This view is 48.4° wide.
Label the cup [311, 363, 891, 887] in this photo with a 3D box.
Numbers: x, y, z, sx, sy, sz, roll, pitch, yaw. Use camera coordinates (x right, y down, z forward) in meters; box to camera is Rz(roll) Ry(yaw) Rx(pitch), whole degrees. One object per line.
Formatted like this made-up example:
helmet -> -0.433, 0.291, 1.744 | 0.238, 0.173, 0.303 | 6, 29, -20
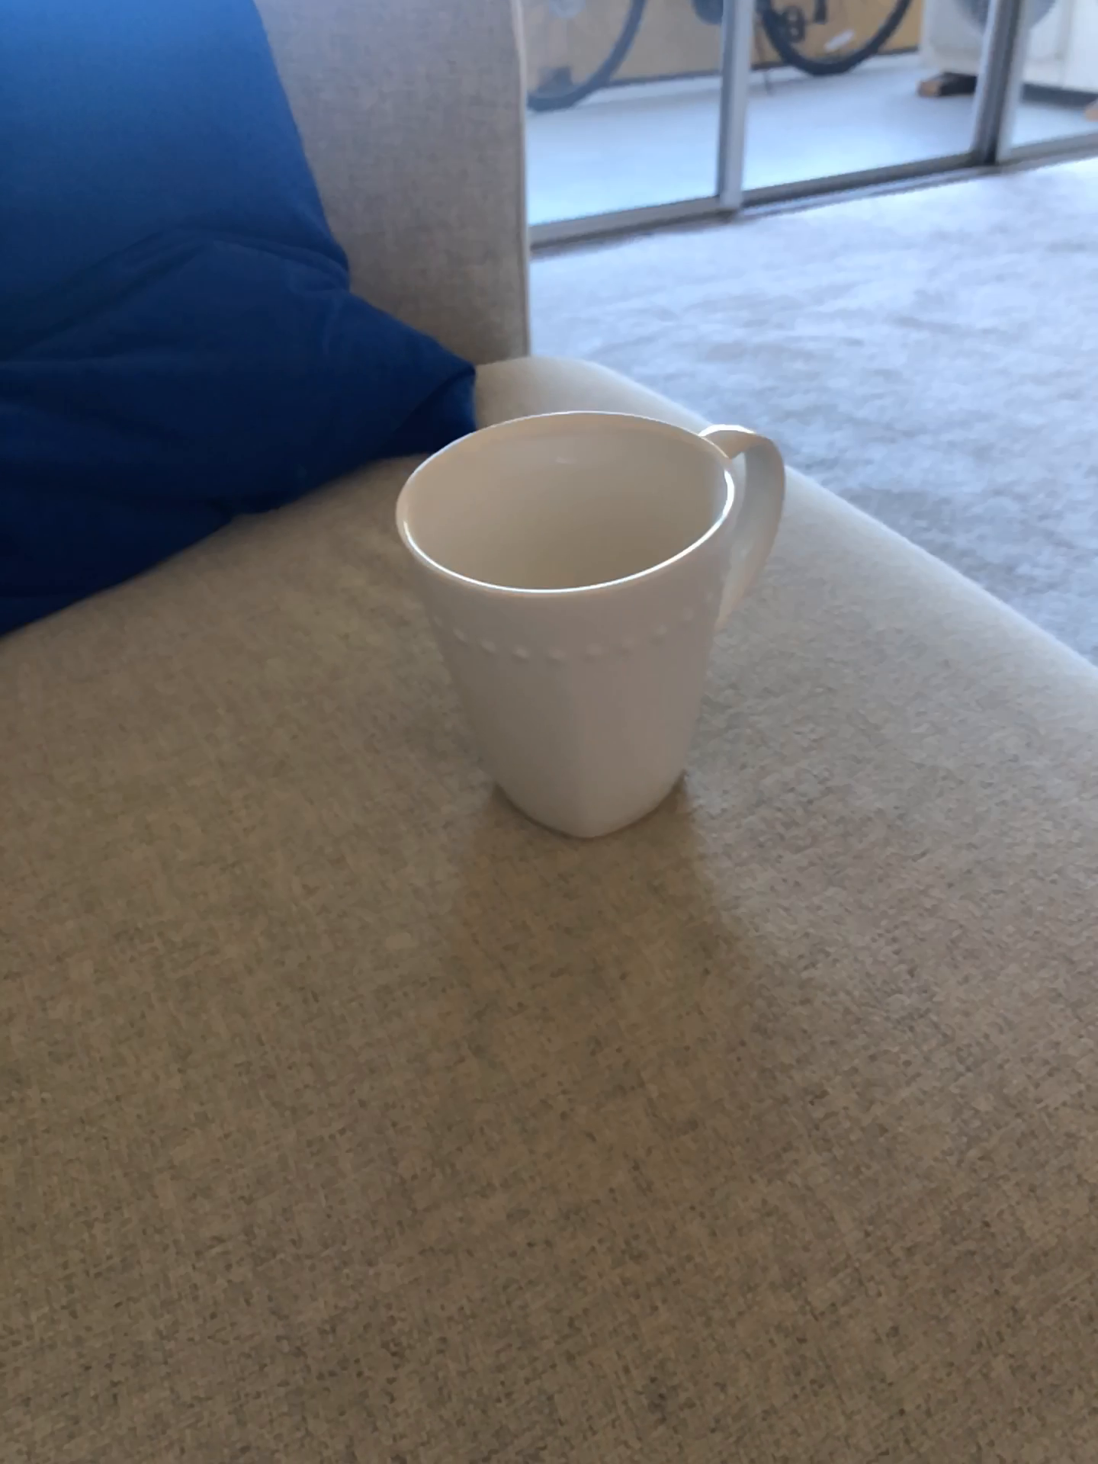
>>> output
cup -> 0.015, -0.040, 0.372 | 0.130, 0.090, 0.100 | -23, 41, -27
